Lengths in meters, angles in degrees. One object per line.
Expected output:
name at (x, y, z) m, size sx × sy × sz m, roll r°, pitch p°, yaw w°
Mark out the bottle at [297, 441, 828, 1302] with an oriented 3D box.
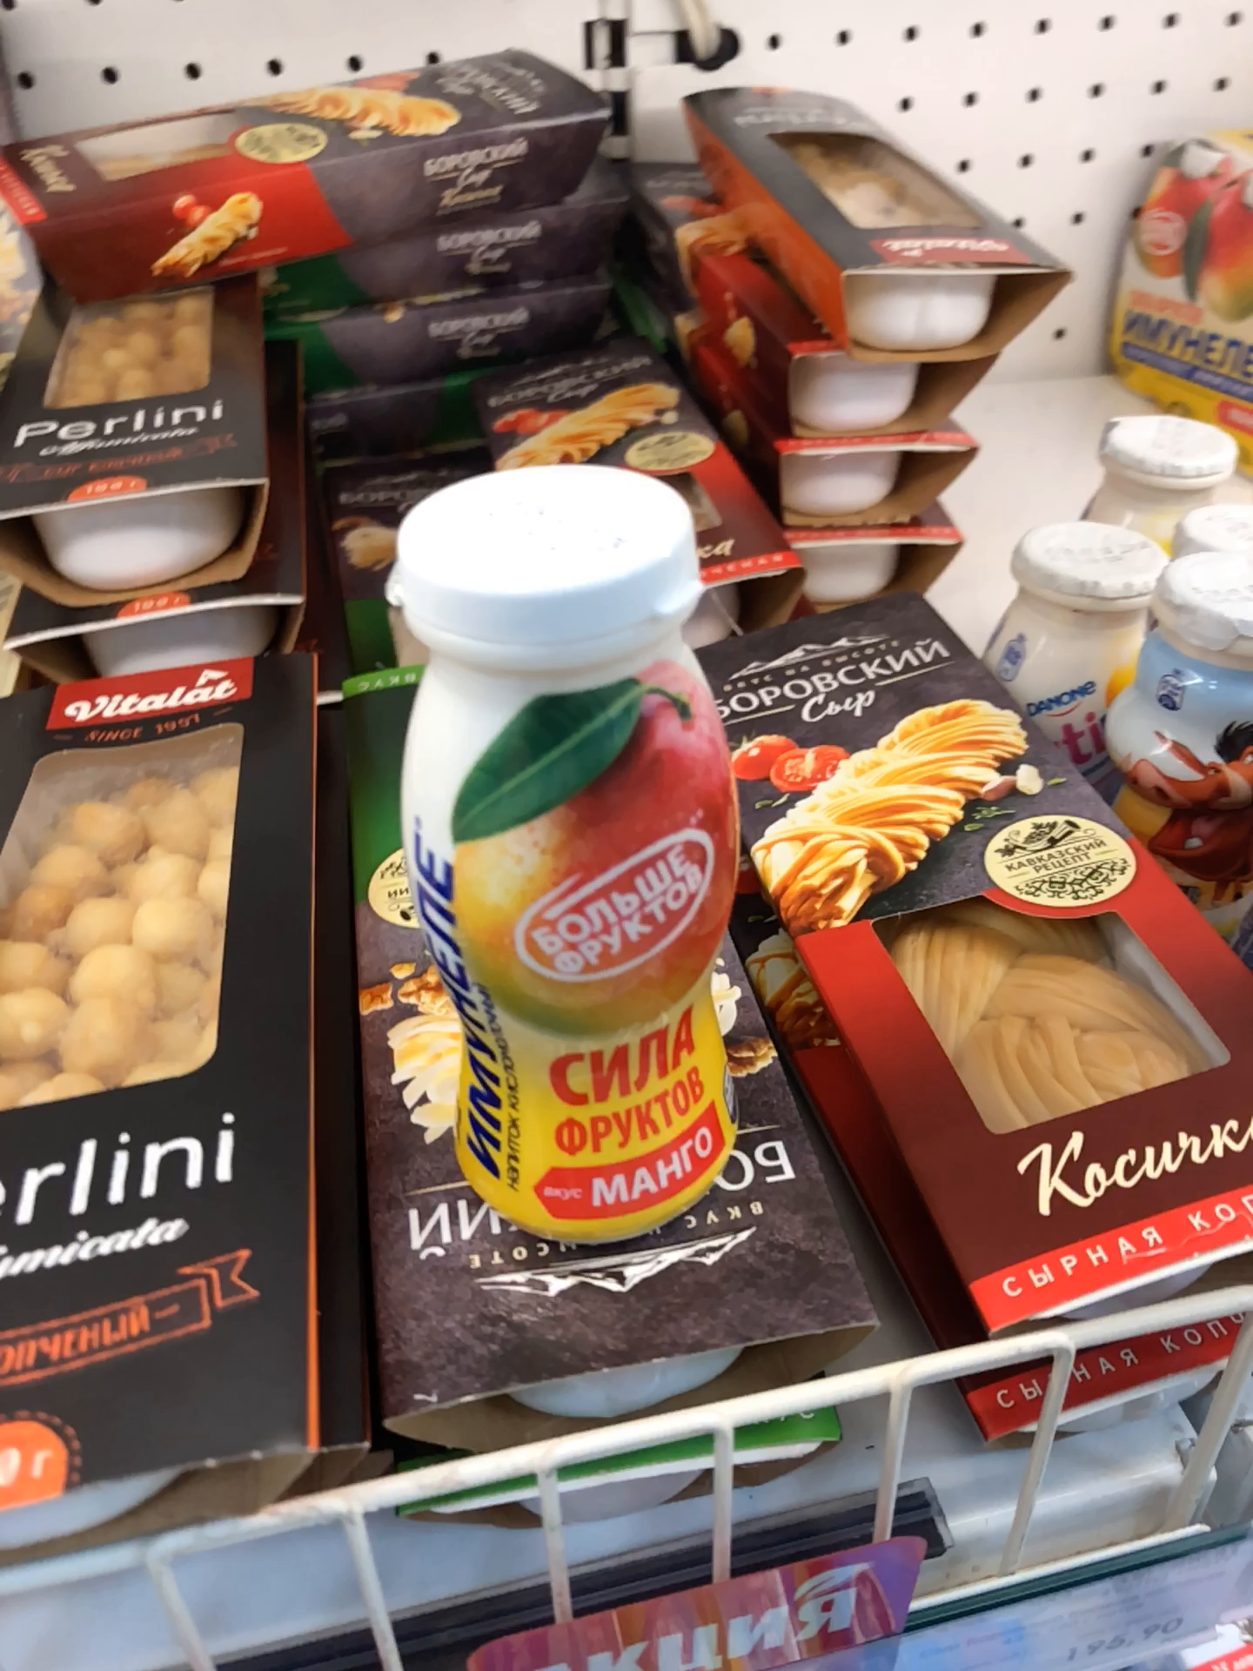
bottle at (-0.007, 0.006, 0.189) m, size 0.046 × 0.099 × 0.044 m, roll -1°, pitch 35°, yaw 1°
